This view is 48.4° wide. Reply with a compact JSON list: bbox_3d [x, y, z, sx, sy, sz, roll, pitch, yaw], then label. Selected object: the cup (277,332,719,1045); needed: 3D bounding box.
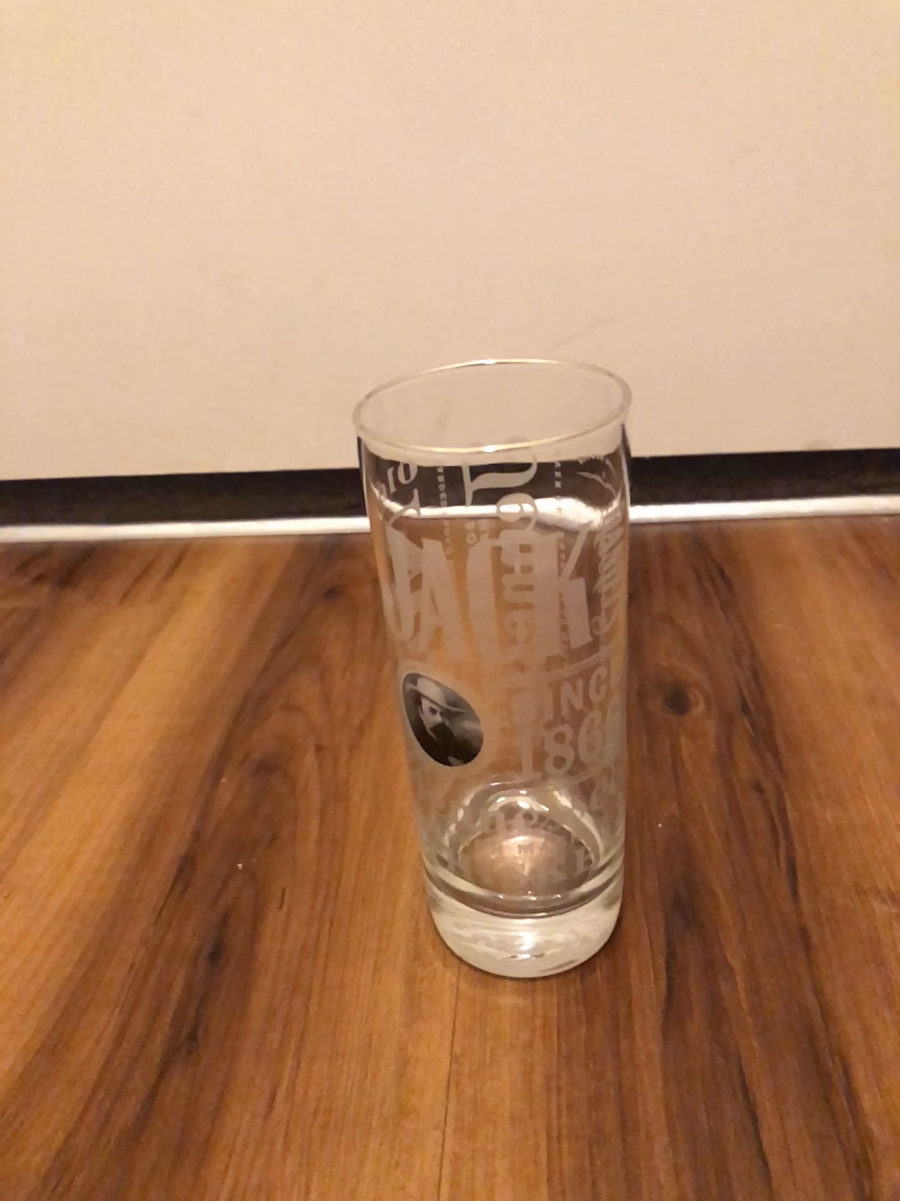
[{"bbox_3d":[0.016,0.020,0.252,0.068,0.150,0.067,-4,29,2],"label":"cup"}]
